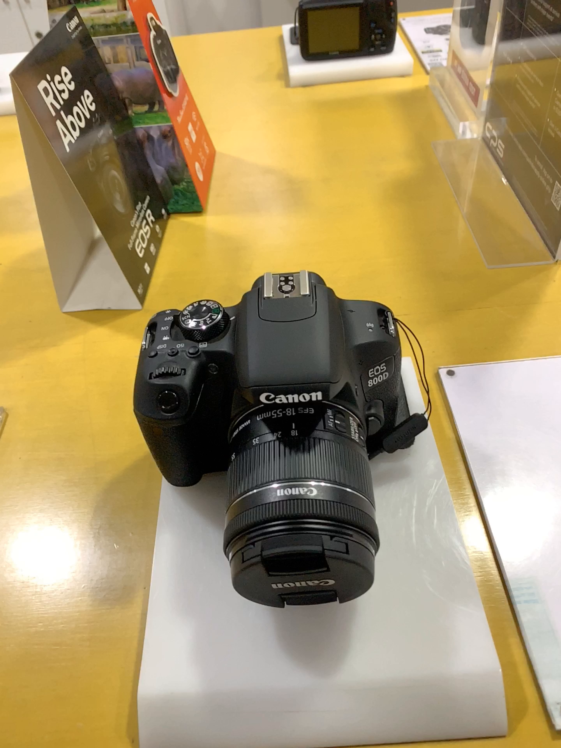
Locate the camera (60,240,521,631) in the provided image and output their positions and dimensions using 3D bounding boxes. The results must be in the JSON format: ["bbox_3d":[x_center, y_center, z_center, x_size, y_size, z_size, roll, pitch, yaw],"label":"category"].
[{"bbox_3d":[0.003,0.024,0.252,0.140,0.090,0.130,-5,46,2],"label":"camera"}]
